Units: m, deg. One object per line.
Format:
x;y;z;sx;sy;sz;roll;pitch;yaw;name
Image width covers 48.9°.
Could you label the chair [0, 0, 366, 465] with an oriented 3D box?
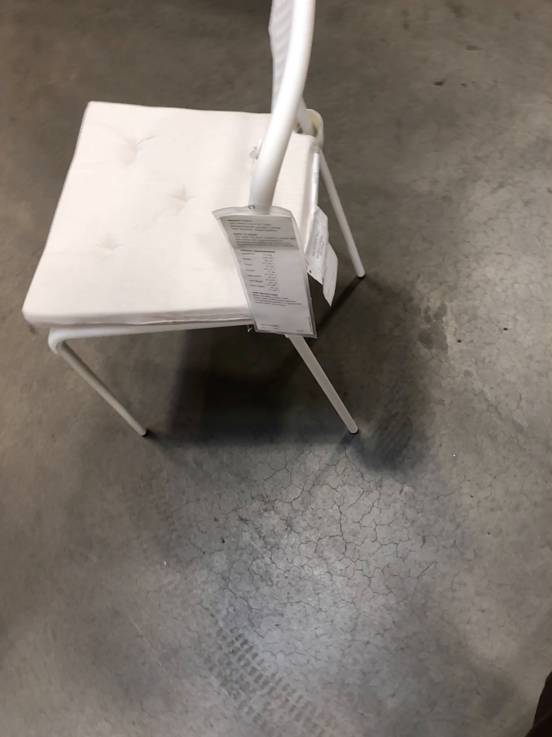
-0.150;-0.179;0.962;0.530;0.739;0.480;-2;66;12;chair
